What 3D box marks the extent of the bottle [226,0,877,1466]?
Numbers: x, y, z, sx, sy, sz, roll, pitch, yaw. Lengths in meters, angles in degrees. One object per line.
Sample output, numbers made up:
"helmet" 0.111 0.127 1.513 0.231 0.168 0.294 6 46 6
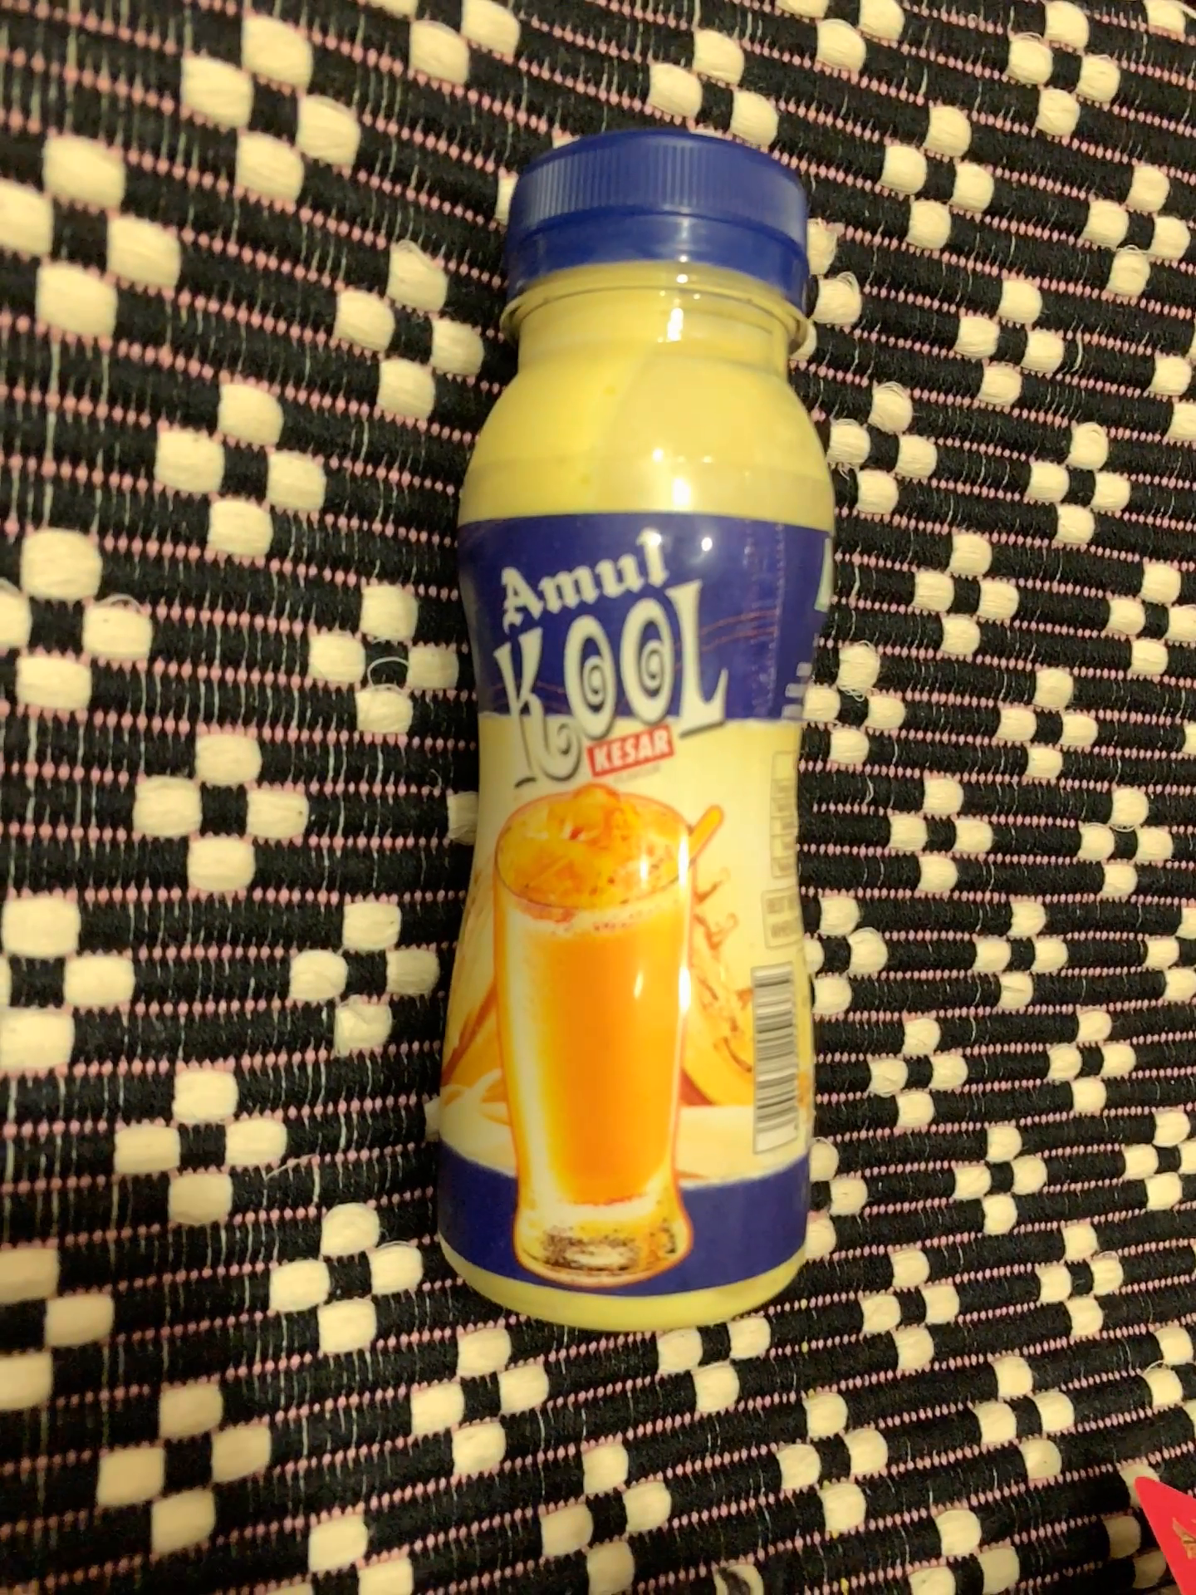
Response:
"bottle" -0.001 -0.016 0.157 0.060 0.060 0.160 1 91 -72
